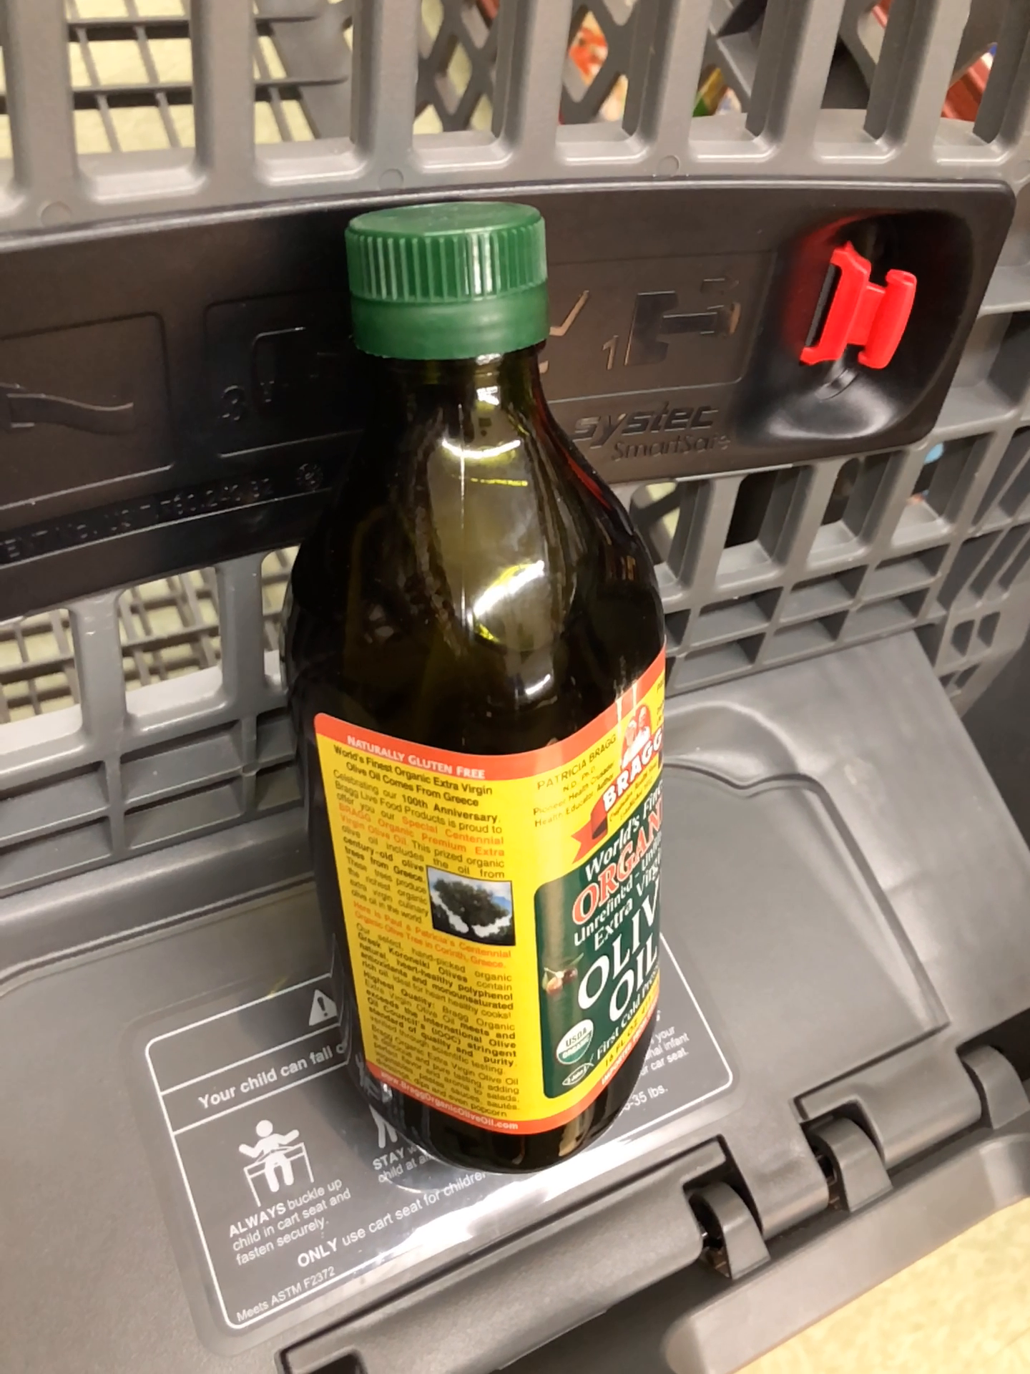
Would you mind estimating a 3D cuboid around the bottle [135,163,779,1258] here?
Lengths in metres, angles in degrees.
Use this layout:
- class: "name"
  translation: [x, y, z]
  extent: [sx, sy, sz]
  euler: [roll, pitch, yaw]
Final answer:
- class: "bottle"
  translation: [-0.004, 0.006, 0.229]
  extent: [0.070, 0.192, 0.080]
  euler: [15, 33, 26]
